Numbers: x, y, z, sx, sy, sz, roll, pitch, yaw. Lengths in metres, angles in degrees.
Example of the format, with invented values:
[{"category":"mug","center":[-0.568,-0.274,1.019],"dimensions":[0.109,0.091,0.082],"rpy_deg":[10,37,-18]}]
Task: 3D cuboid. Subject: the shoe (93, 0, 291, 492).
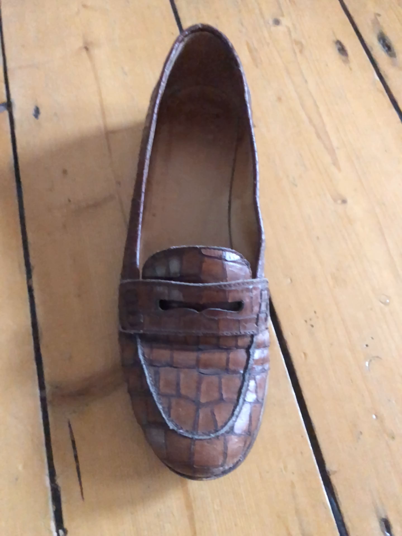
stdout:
[{"category":"shoe","center":[-0.004,-0.040,0.286],"dimensions":[0.080,0.100,0.321],"rpy_deg":[0,68,0]}]
